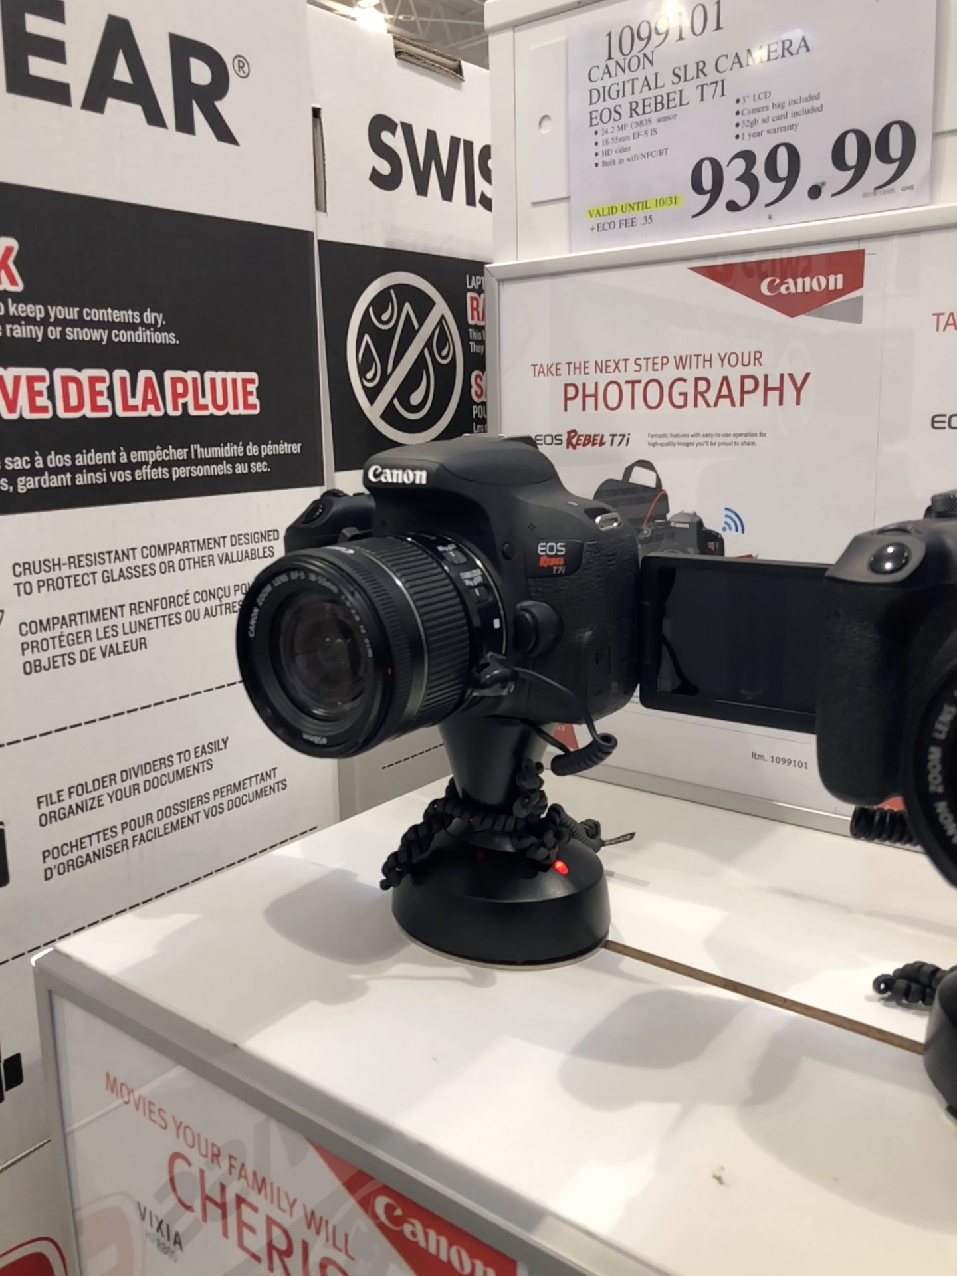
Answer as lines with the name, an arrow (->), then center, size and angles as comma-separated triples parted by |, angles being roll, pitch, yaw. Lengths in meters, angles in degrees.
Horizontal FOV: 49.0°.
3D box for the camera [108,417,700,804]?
camera -> -0.020, -0.025, 0.373 | 0.140, 0.100, 0.150 | 7, 14, 36
